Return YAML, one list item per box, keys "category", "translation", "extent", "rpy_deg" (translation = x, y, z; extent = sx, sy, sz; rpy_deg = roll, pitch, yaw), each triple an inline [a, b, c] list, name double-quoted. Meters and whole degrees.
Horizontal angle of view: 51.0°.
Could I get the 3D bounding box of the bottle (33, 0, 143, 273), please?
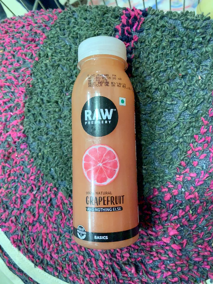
- category: "bottle"
  translation: [-0.006, -0.007, 0.162]
  extent: [0.060, 0.060, 0.160]
  rpy_deg: [-1, 82, 13]
